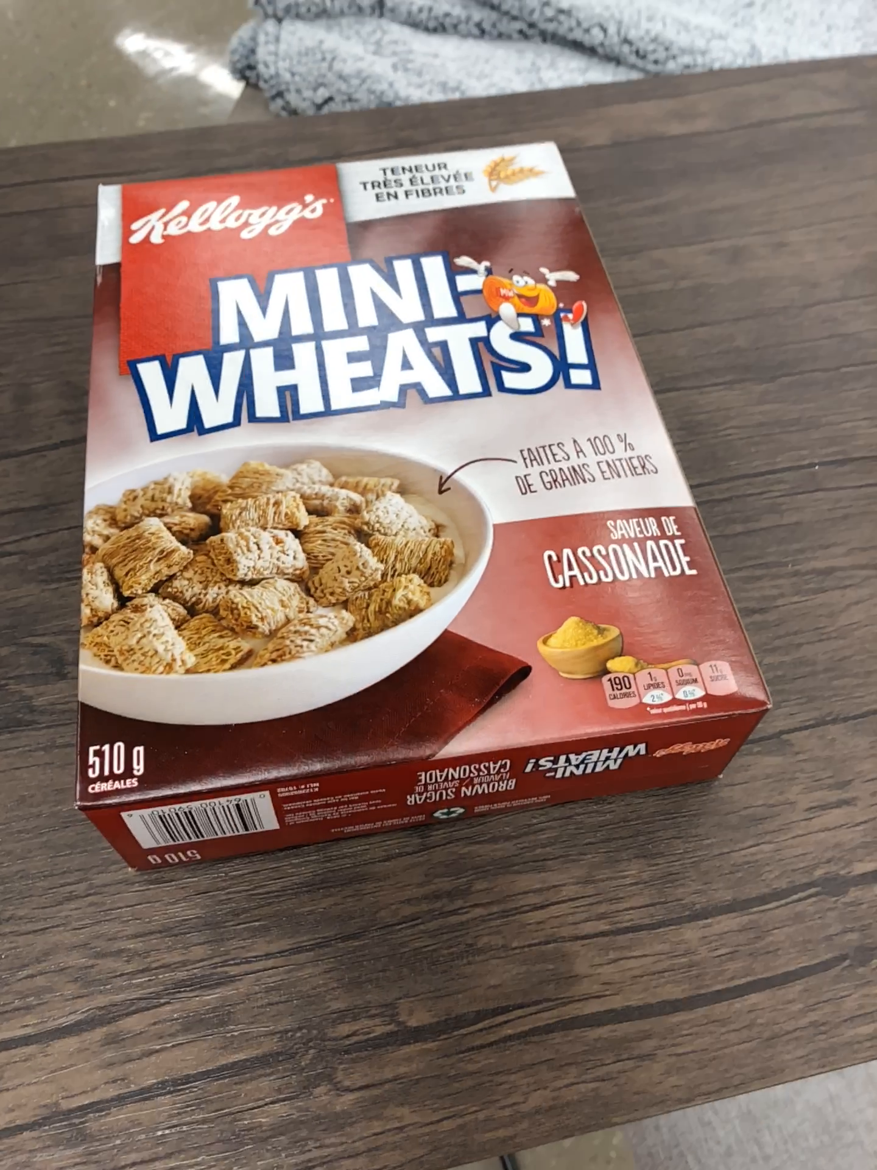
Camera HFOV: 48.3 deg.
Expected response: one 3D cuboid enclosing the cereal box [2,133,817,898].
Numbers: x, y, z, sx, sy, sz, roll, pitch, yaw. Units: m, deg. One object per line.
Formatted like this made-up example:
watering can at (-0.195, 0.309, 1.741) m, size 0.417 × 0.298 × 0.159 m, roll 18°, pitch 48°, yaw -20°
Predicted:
cereal box at (-0.025, -0.046, 0.343) m, size 0.210 × 0.060 × 0.260 m, roll -8°, pitch 58°, yaw -6°
